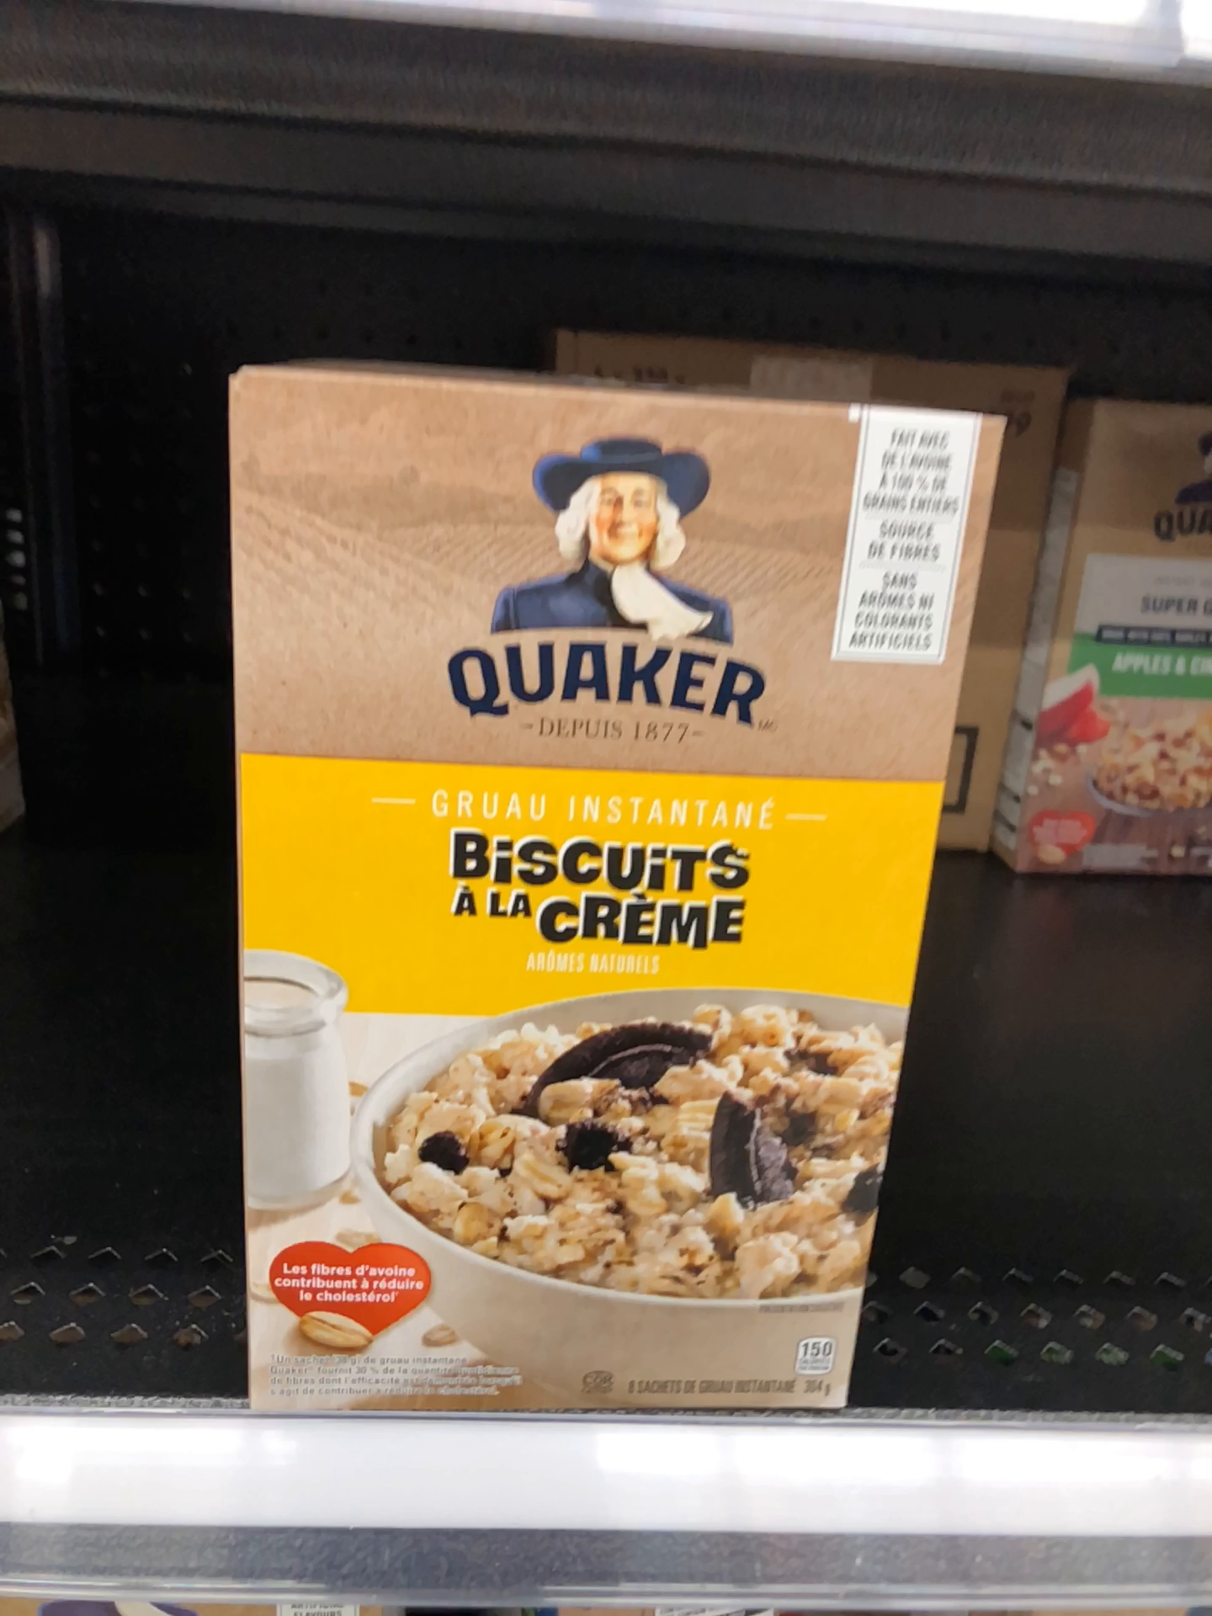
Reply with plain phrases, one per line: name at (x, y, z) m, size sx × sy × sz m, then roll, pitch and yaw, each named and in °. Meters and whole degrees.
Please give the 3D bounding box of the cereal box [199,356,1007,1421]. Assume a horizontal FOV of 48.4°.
cereal box at (-0.008, 0.015, 0.267) m, size 0.120 × 0.189 × 0.080 m, roll 3°, pitch 19°, yaw -4°
